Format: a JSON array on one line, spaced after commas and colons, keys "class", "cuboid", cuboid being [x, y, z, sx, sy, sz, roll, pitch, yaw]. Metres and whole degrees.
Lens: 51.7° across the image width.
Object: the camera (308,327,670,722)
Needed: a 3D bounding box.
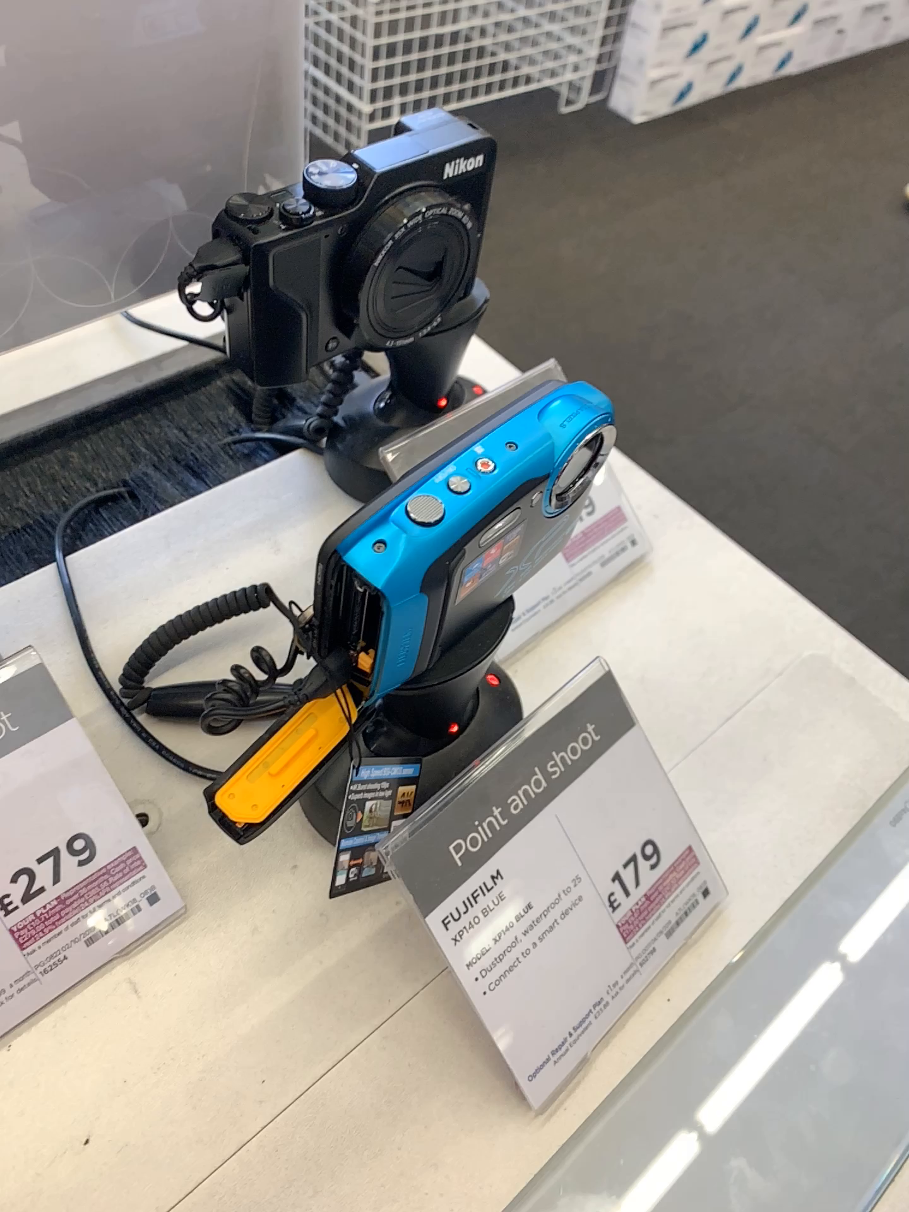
[{"class": "camera", "cuboid": [0.010, -0.025, 0.264, 0.030, 0.060, 0.111, 37, 55, 19]}]
